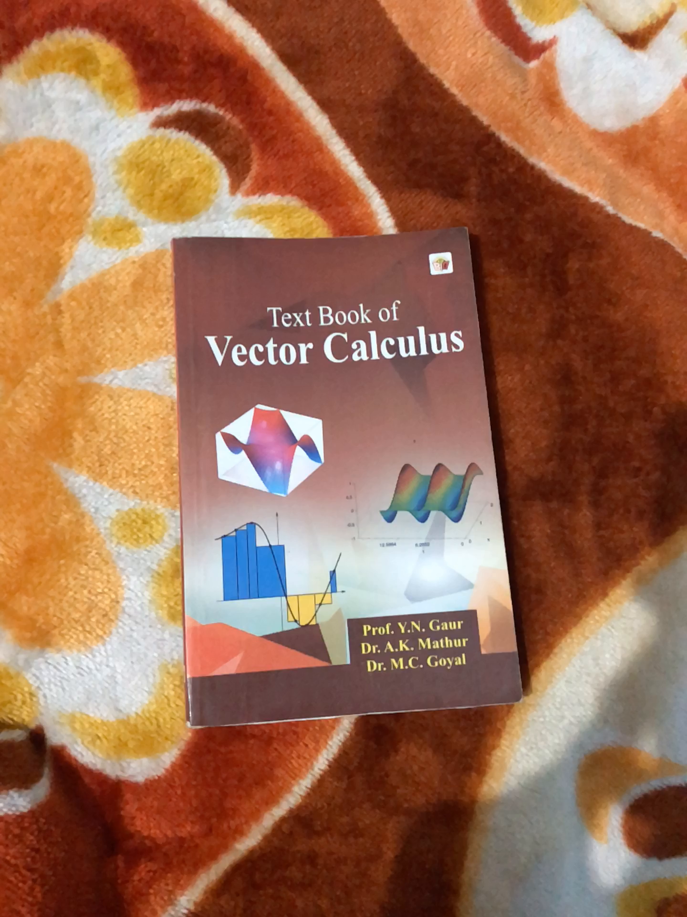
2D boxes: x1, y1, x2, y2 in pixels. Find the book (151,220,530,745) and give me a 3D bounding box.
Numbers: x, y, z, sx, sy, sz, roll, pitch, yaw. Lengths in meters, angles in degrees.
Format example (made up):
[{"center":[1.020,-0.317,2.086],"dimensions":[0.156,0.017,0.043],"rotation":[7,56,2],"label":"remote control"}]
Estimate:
[{"center":[-0.006,0.003,0.325],"dimensions":[0.140,0.020,0.210],"rotation":[-4,78,-4],"label":"book"}]
